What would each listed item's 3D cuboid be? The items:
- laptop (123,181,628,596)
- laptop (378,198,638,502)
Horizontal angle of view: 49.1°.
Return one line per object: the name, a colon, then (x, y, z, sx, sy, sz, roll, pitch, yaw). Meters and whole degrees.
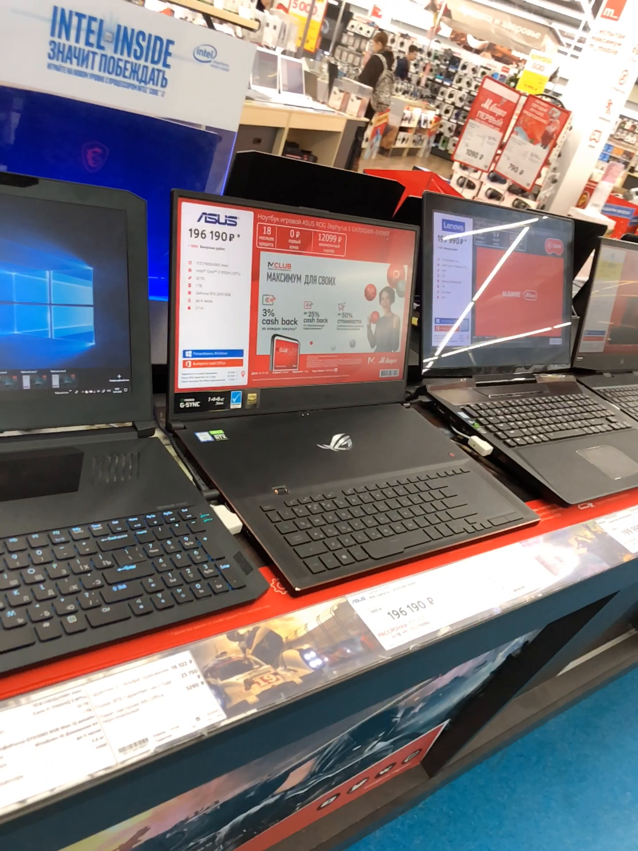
laptop: (0.053, -0.069, 0.815, 0.392, 0.240, 0.378, -6, 38, -41)
laptop: (0.402, -0.139, 1.102, 0.375, 0.248, 0.412, -6, 39, -38)
